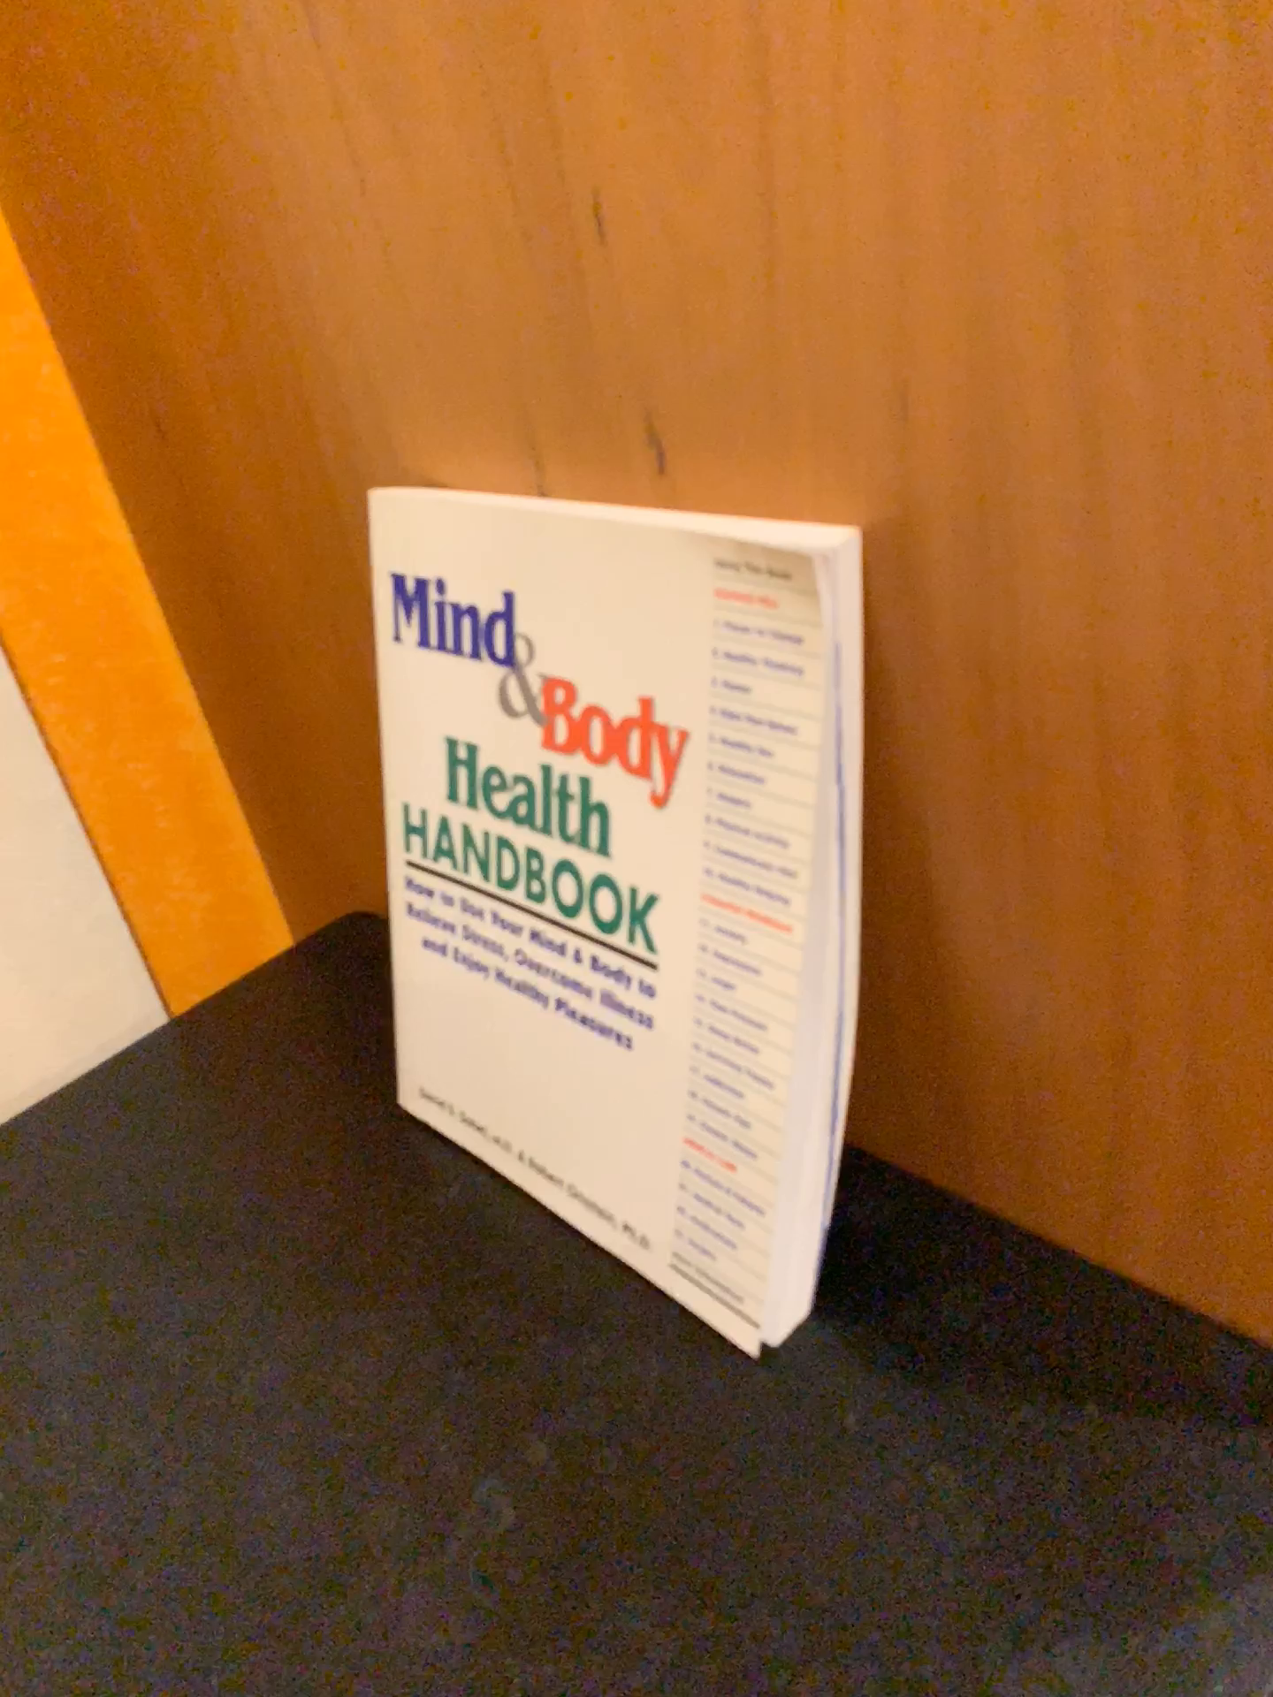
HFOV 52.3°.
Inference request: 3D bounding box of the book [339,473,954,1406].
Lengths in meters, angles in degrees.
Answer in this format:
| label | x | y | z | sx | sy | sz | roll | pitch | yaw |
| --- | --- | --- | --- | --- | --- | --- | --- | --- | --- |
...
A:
| label | x | y | z | sx | sy | sz | roll | pitch | yaw |
| --- | --- | --- | --- | --- | --- | --- | --- | --- | --- |
| book | -0.016 | 0.010 | 0.399 | 0.040 | 0.229 | 0.211 | -13 | 24 | -41 |
